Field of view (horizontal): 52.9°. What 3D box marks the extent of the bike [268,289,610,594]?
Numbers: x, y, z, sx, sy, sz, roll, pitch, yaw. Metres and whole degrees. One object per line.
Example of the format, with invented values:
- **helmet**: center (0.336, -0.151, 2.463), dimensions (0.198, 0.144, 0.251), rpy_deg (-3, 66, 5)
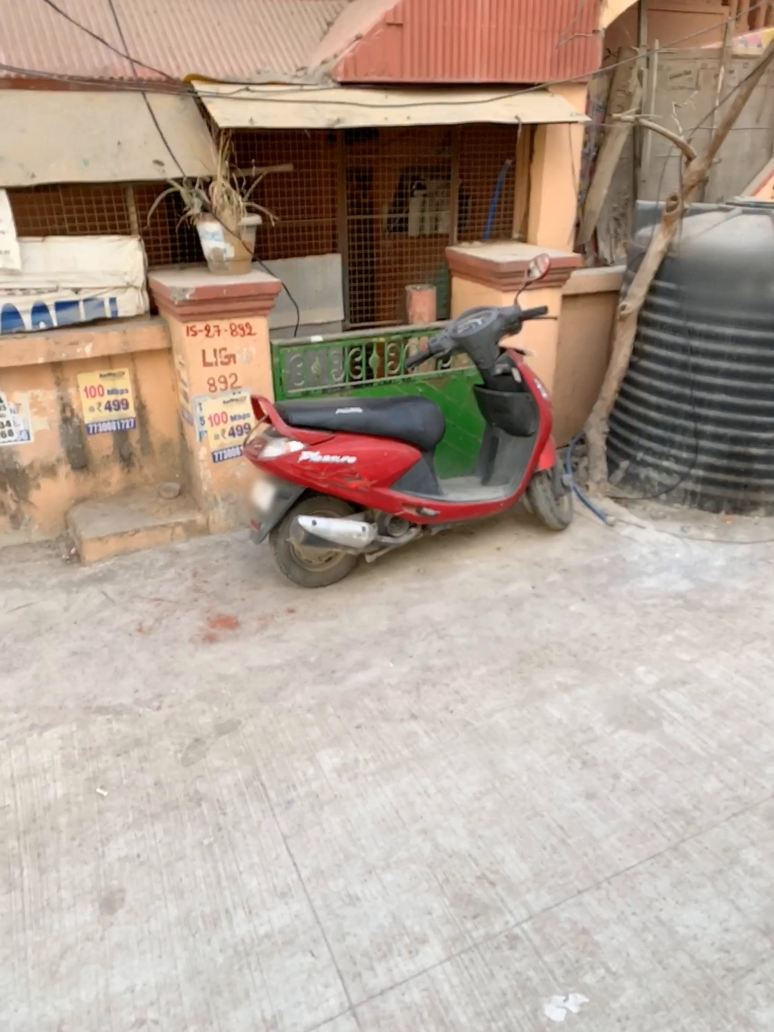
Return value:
- **bike**: center (0.231, -0.389, 3.290), dimensions (1.272, 0.916, 0.620), rpy_deg (-16, 30, -30)
